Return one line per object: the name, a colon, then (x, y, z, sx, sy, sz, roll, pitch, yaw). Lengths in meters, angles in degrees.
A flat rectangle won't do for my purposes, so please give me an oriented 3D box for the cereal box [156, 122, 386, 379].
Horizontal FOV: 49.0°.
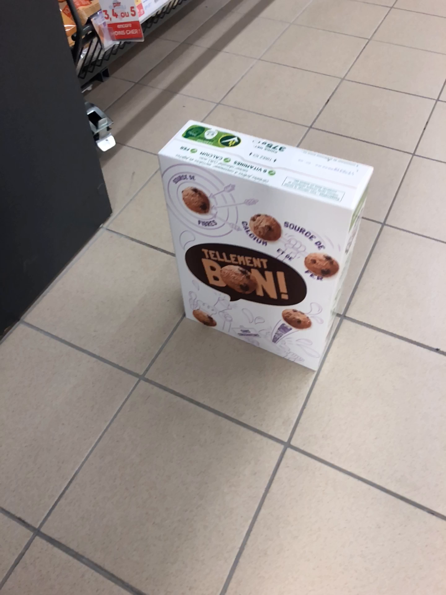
cereal box: (0.042, -0.037, 0.548, 0.200, 0.268, 0.060, 21, 55, 16)
